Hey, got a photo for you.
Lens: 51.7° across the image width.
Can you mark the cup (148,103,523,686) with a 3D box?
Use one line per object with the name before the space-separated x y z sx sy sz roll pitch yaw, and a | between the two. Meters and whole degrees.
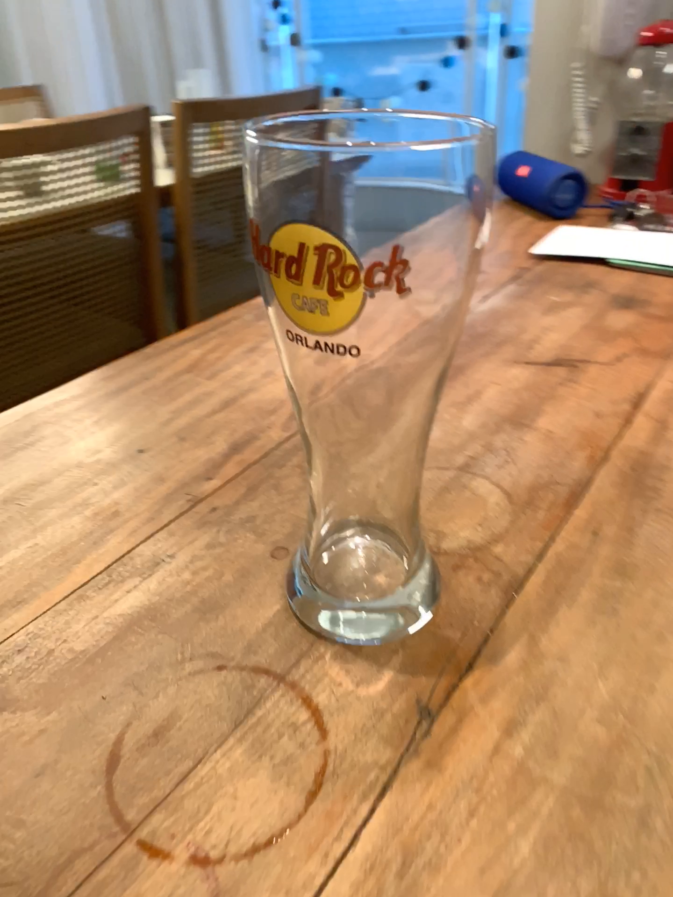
cup | 0.010 -0.021 0.280 0.090 0.201 0.090 -3 32 2
